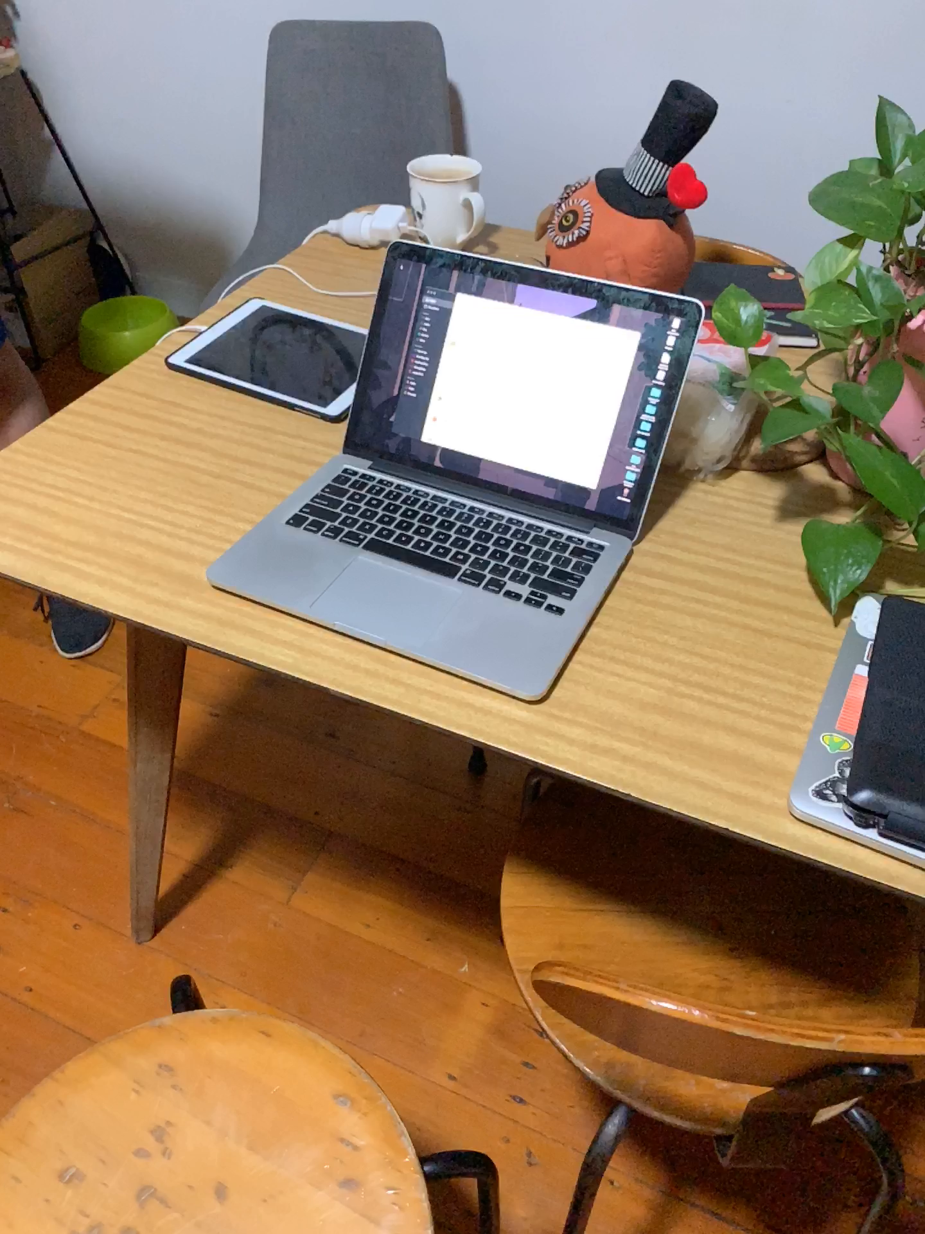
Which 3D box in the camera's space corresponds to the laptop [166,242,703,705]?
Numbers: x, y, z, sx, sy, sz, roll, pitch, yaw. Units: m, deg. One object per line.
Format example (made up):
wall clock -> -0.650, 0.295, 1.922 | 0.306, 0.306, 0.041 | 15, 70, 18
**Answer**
laptop -> -0.004, -0.127, 0.680 | 0.264, 0.144, 0.288 | 19, 45, 20
